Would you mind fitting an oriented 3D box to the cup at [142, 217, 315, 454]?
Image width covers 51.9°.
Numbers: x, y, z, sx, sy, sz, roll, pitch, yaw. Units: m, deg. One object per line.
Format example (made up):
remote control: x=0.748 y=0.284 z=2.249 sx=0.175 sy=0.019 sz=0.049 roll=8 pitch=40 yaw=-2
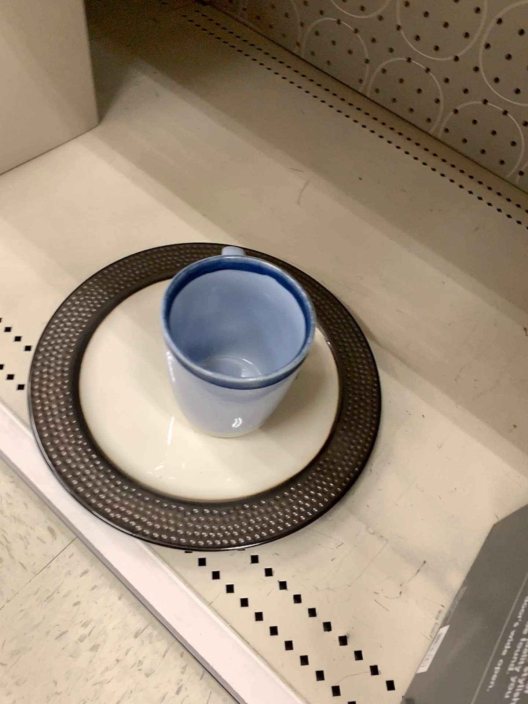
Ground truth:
cup: x=-0.027 y=-0.009 z=0.367 sx=0.093 sy=0.094 sz=0.128 roll=1 pitch=57 yaw=-7
